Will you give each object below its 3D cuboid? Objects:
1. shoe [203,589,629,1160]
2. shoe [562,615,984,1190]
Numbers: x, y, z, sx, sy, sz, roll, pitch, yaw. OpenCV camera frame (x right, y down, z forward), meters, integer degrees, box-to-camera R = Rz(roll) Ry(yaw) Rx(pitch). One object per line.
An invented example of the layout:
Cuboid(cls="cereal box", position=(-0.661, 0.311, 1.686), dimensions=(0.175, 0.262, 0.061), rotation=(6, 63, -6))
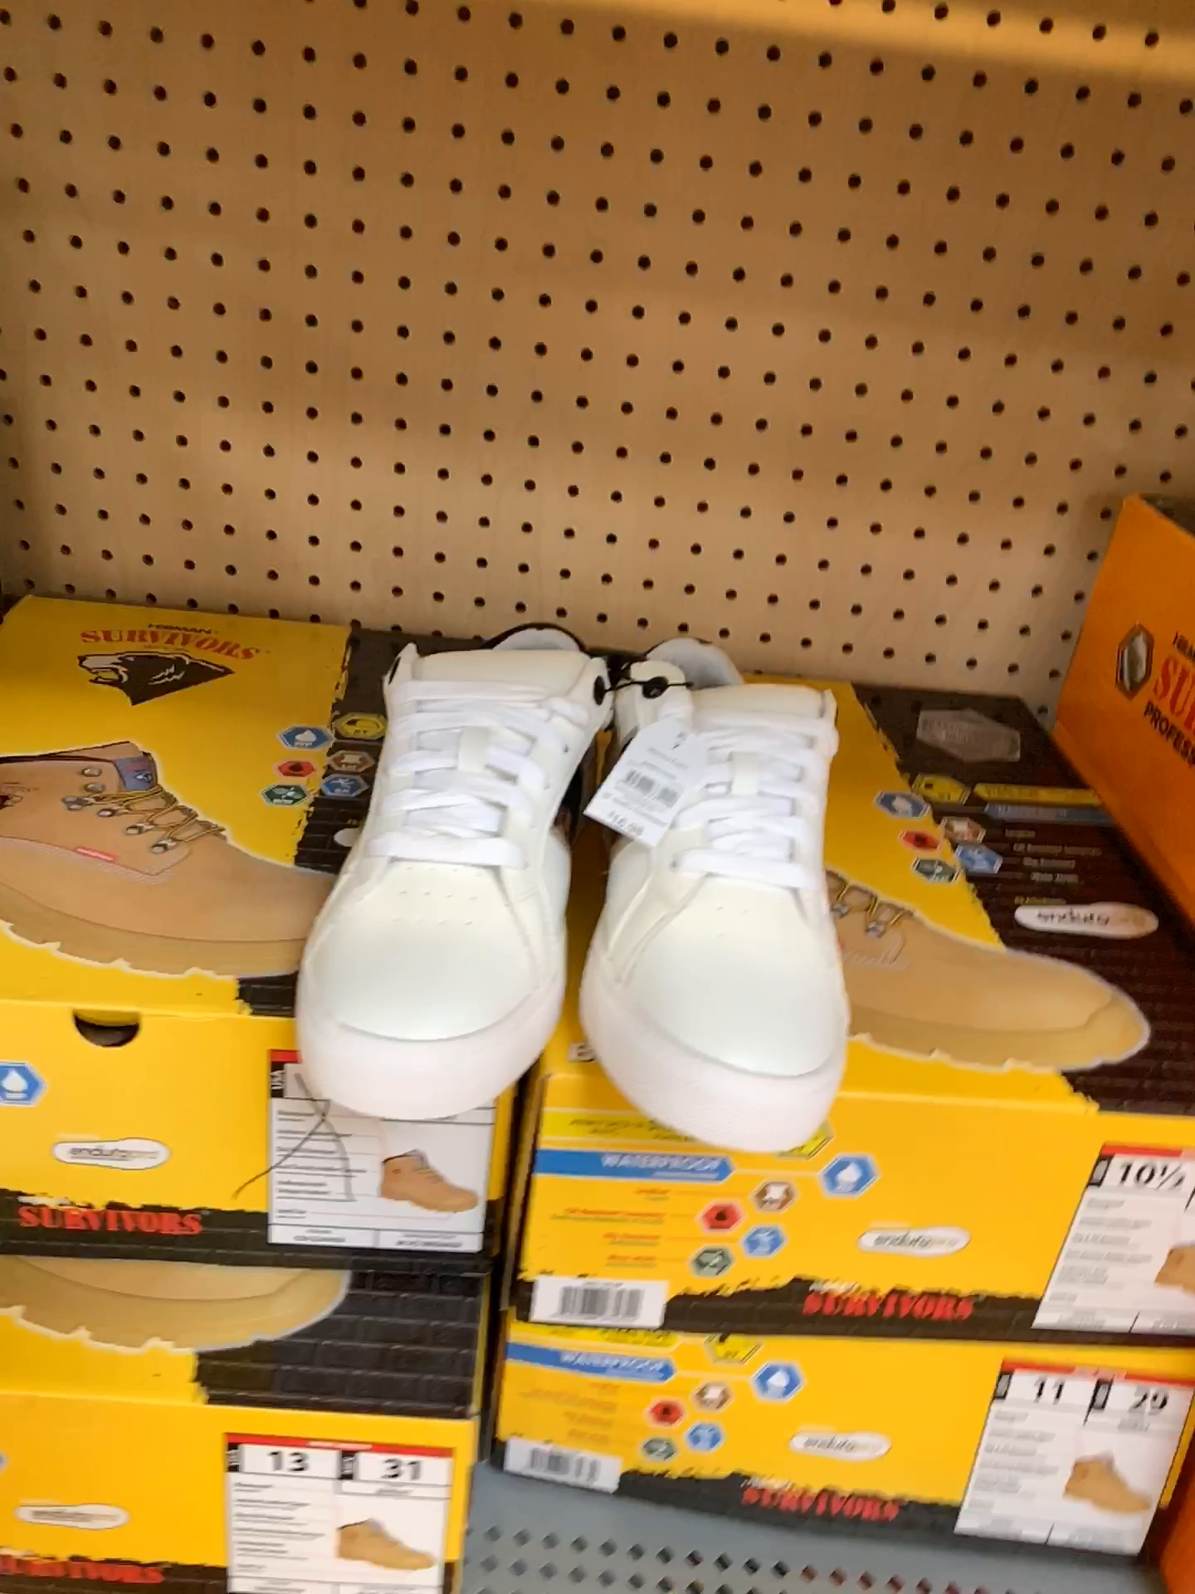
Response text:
Cuboid(cls="shoe", position=(-0.051, 0.008, 0.455), dimensions=(0.100, 0.072, 0.246), rotation=(8, 31, 1))
Cuboid(cls="shoe", position=(0.045, 0.021, 0.455), dimensions=(0.102, 0.070, 0.242), rotation=(8, 31, -8))
